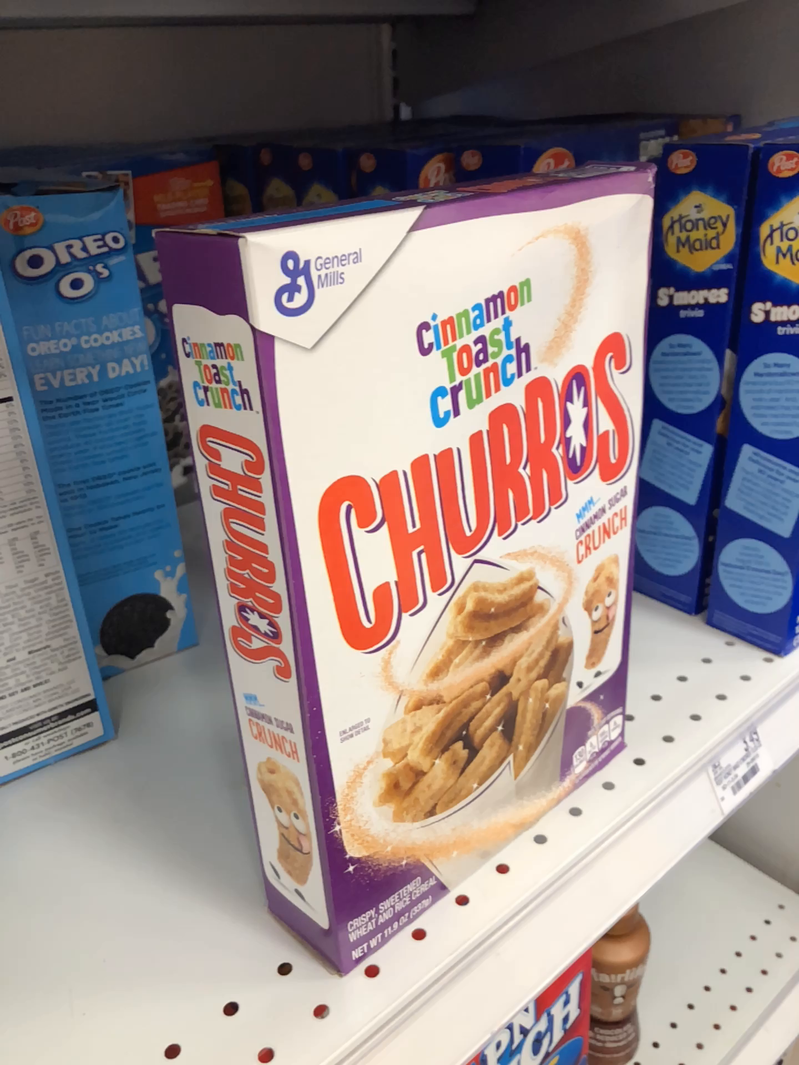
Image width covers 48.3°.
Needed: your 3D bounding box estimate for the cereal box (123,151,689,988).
[{"bbox_3d":[0.022,0.007,0.358,0.200,0.279,0.060,-24,33,-35],"label":"cereal box"}]
